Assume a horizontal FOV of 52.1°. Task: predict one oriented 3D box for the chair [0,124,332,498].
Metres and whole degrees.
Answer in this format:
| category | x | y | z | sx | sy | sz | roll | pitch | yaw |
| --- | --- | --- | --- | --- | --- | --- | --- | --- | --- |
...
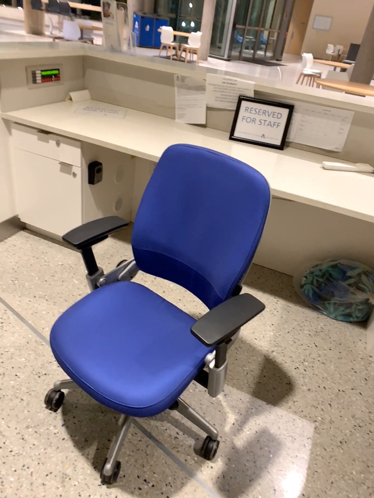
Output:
| category | x | y | z | sx | sy | sz | roll | pitch | yaw |
| --- | --- | --- | --- | --- | --- | --- | --- | --- | --- |
| chair | -0.127 | 0.180 | 1.232 | 0.700 | 0.906 | 0.607 | 30 | 37 | 31 |
